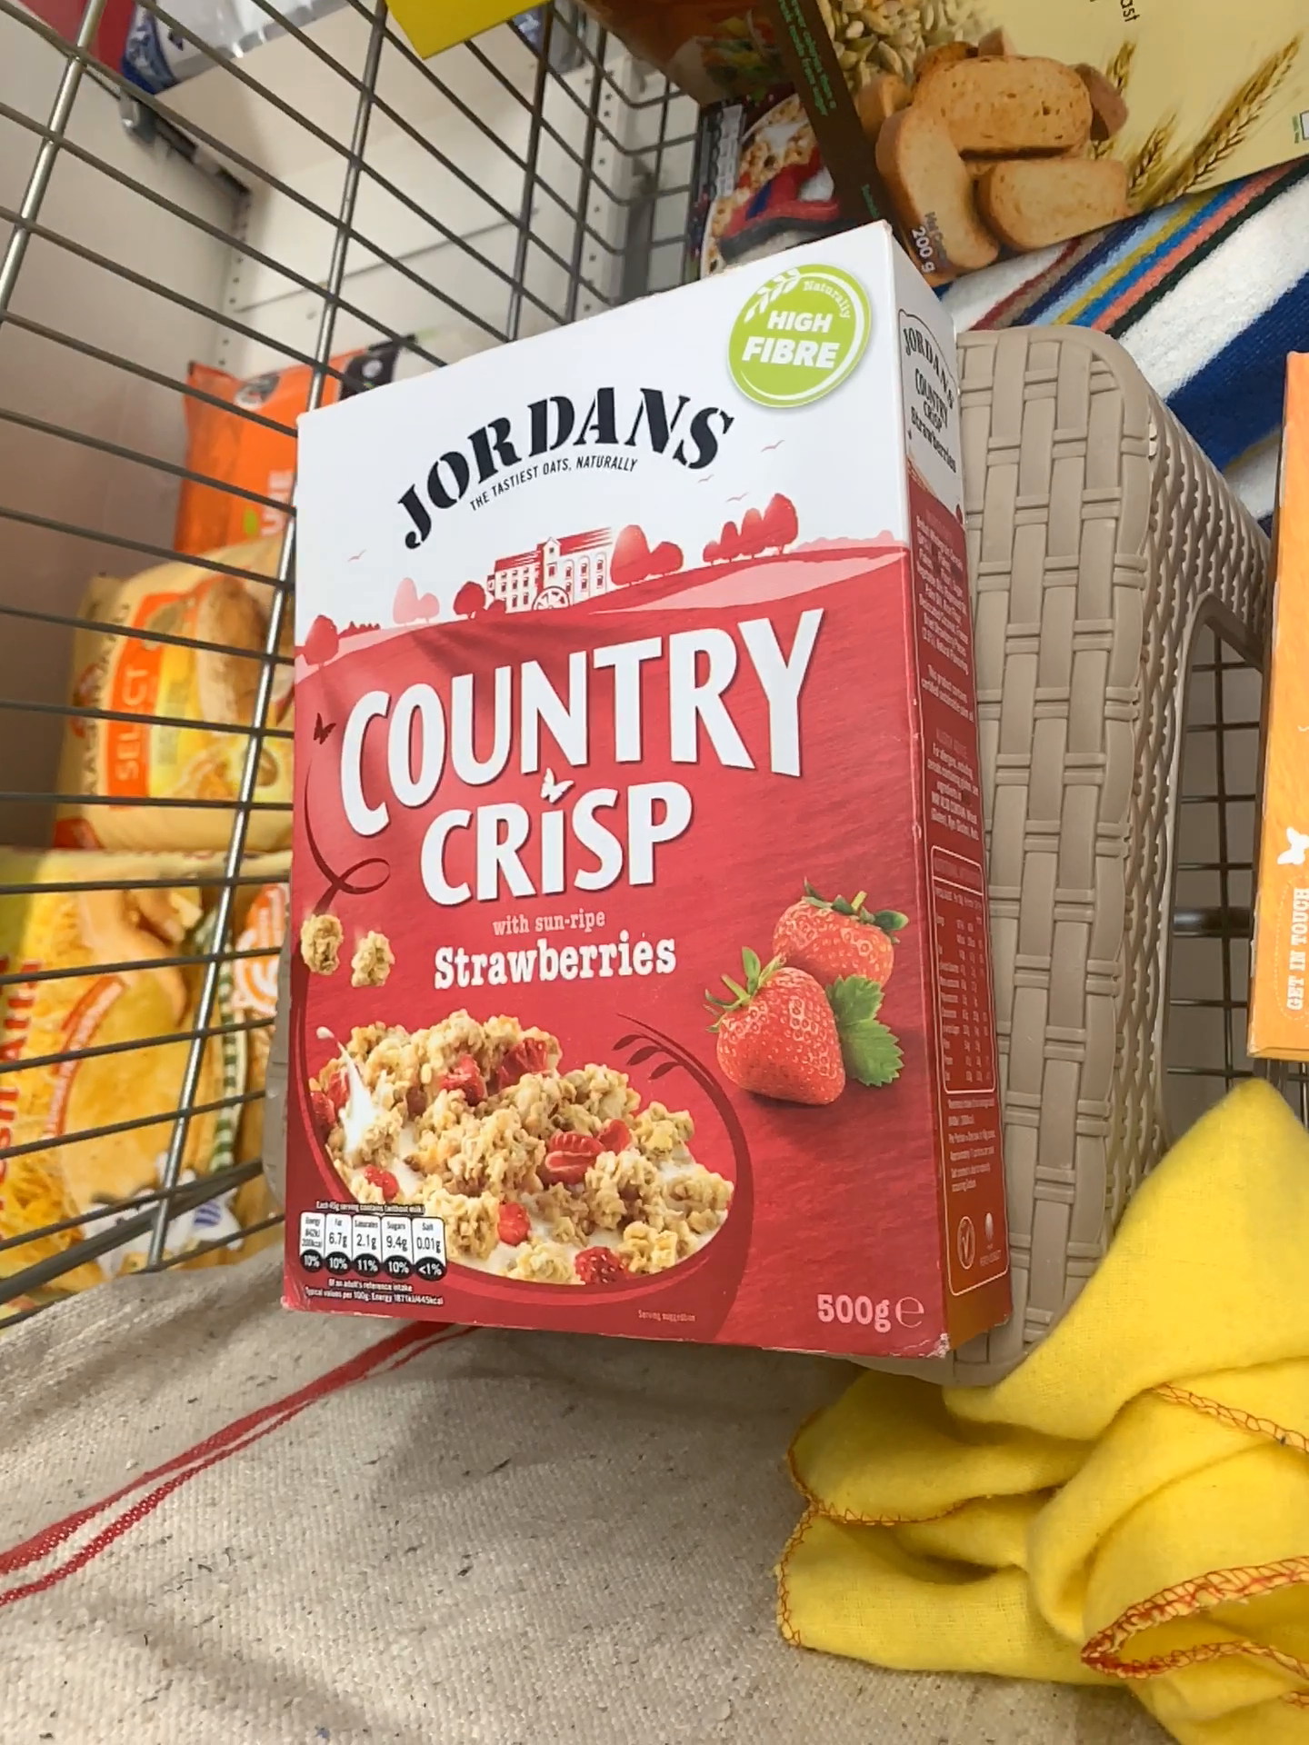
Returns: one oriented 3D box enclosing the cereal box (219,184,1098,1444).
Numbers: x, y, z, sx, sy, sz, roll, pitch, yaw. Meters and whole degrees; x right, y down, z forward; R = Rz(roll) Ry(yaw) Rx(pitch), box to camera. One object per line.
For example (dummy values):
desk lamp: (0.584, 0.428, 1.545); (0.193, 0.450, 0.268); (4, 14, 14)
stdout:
cereal box: (-0.005, -0.006, 0.313); (0.181, 0.070, 0.230); (-6, 79, 29)
